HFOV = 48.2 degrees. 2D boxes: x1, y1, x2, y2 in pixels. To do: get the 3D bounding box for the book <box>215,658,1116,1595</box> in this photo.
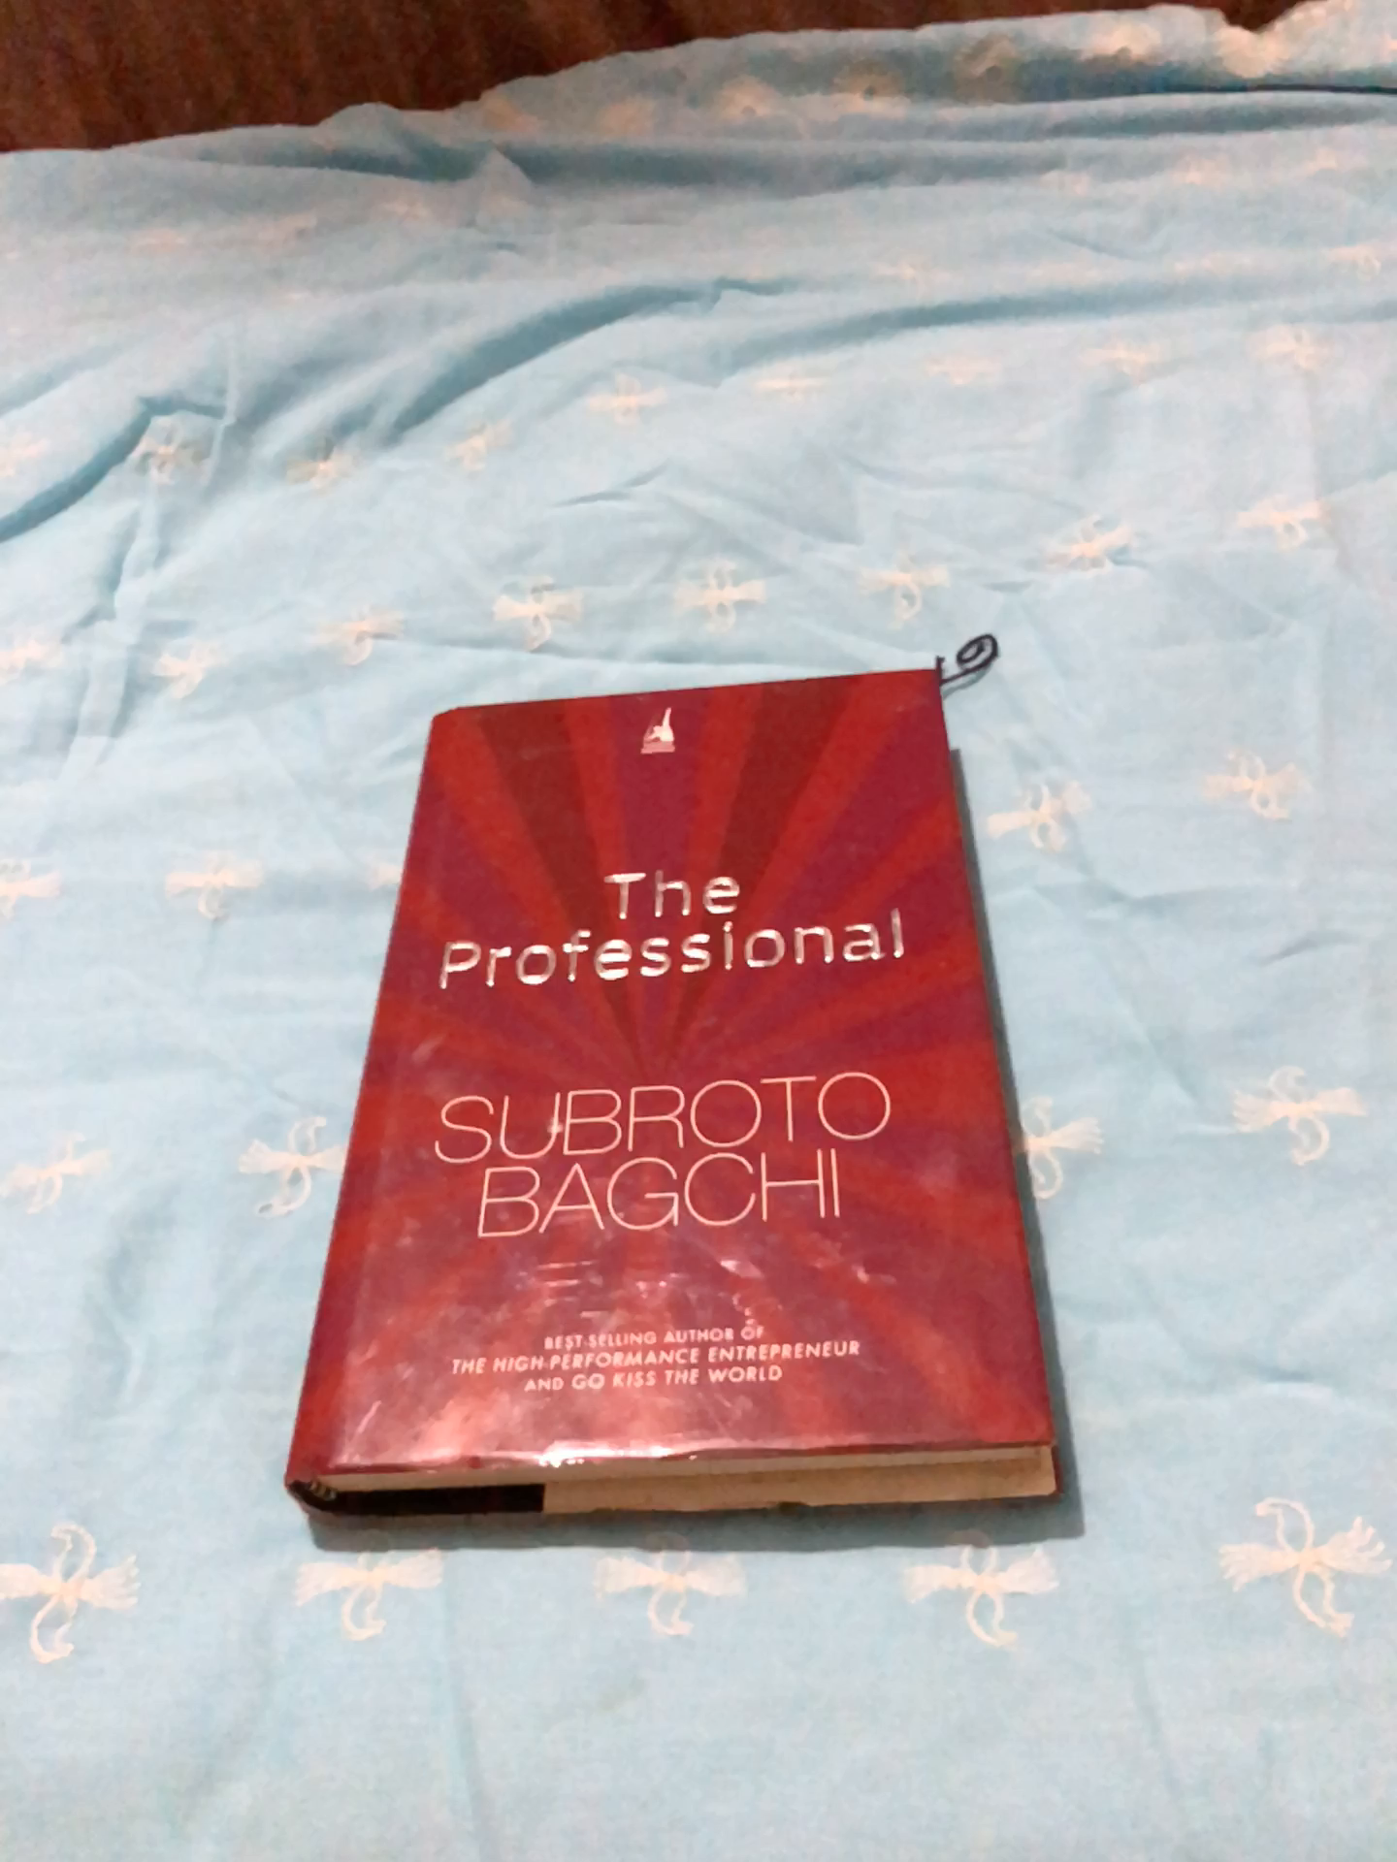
[{"bbox_3d":[-0.003,0.026,0.342,0.150,0.030,0.221,-2,49,5],"label":"book"}]
